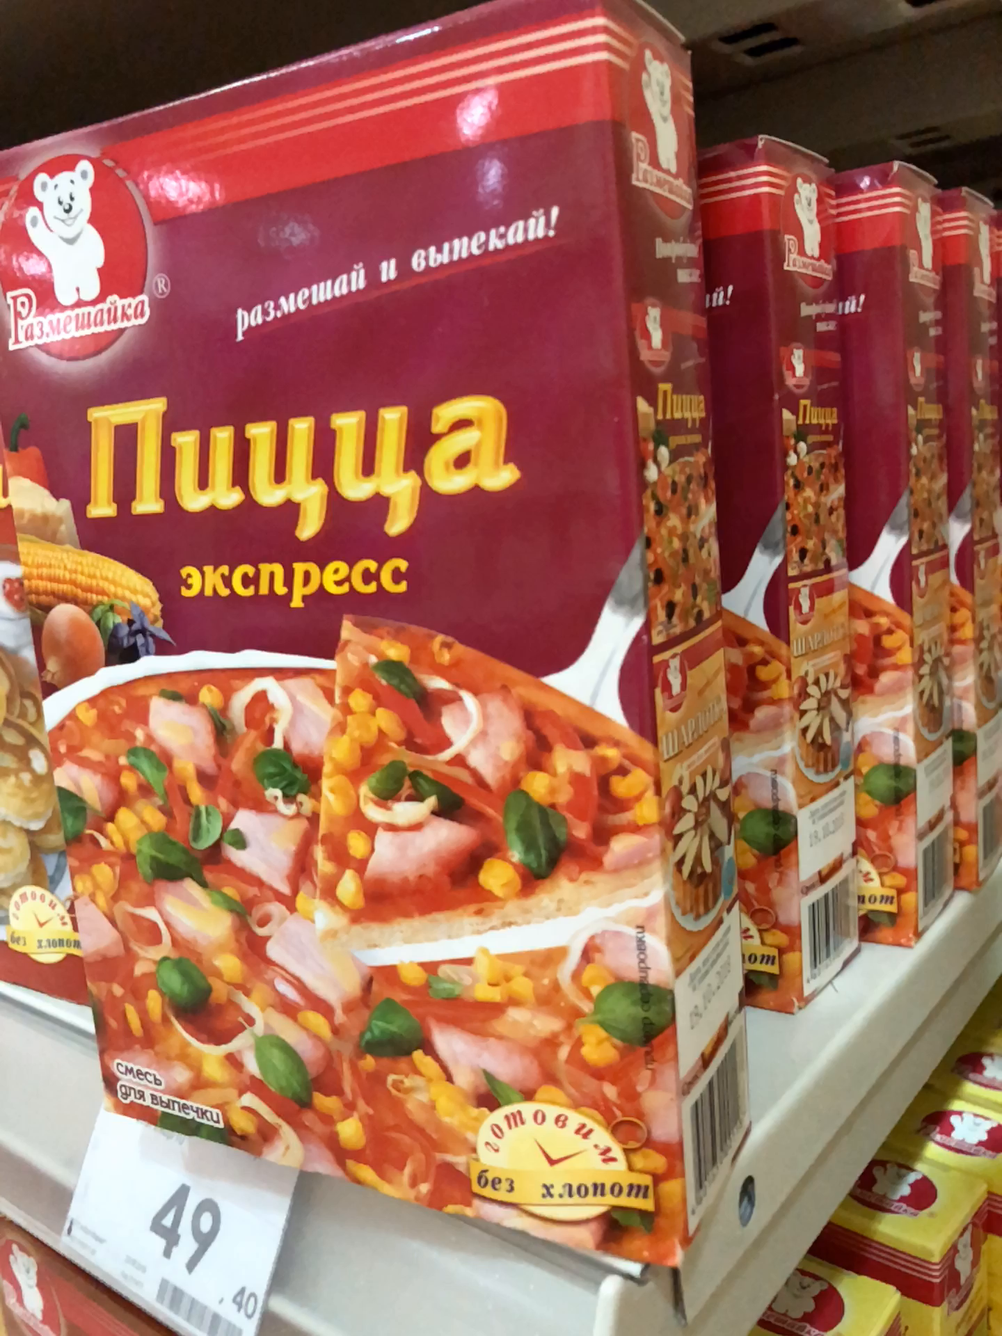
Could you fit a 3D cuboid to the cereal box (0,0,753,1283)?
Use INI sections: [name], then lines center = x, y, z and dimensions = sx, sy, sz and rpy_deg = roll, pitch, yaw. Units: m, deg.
[cereal box]
center = -0.033, -0.008, 0.201
dimensions = 0.140, 0.190, 0.040
rpy_deg = 1, 10, 29
